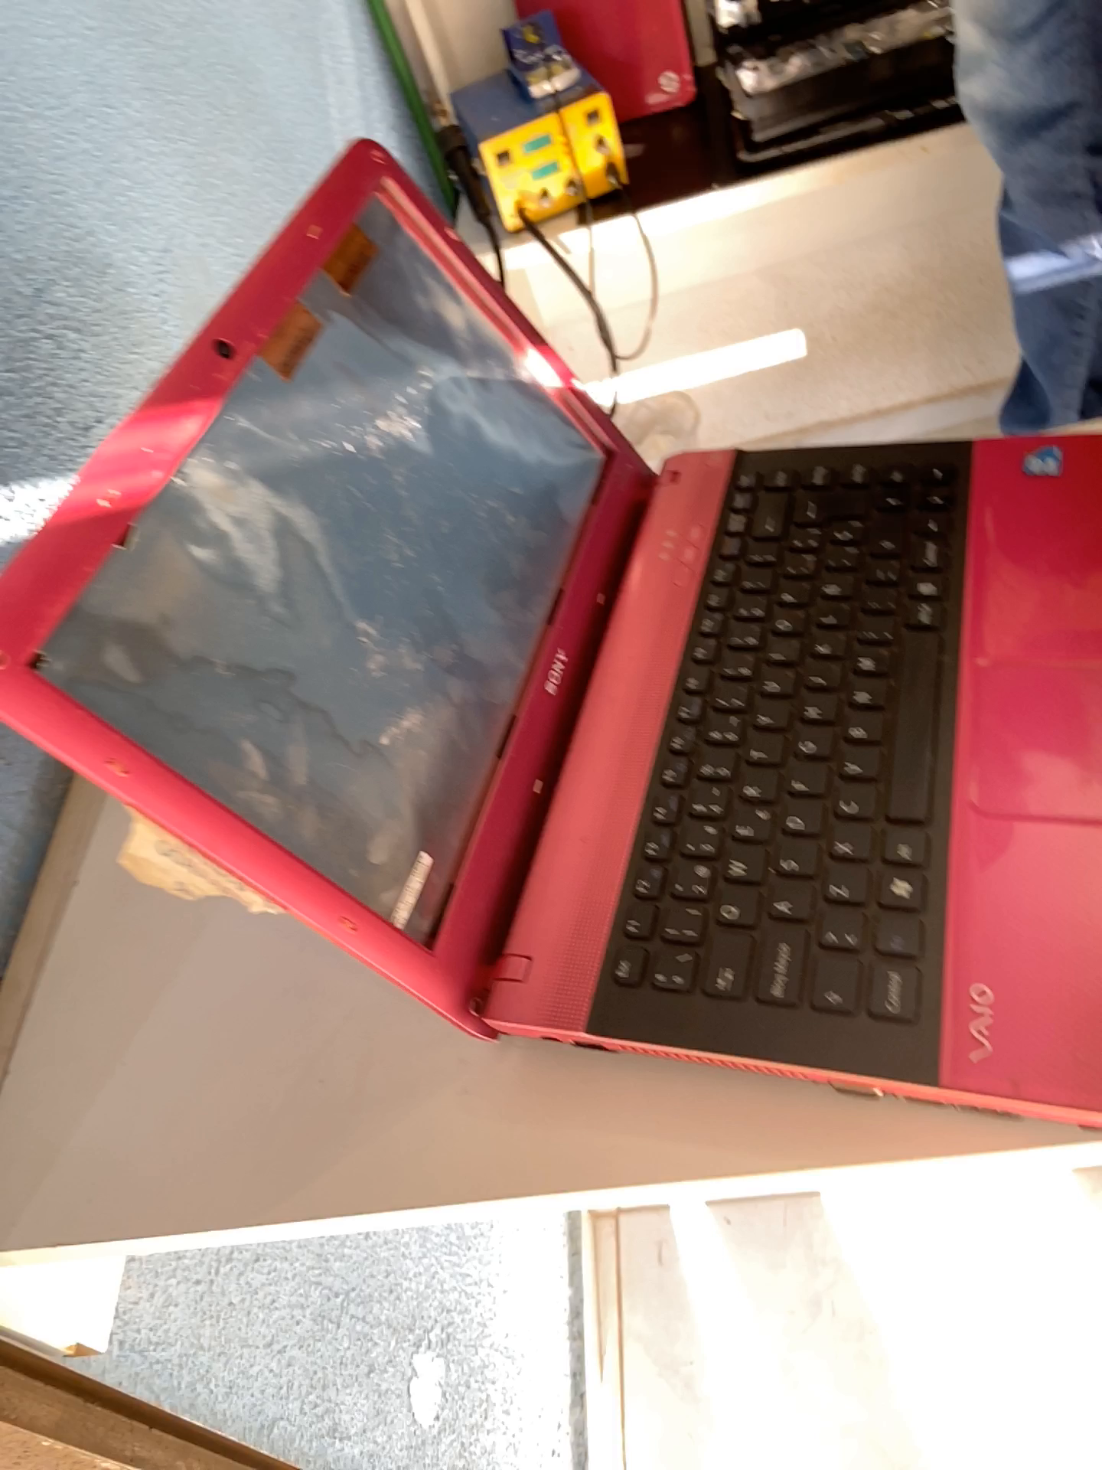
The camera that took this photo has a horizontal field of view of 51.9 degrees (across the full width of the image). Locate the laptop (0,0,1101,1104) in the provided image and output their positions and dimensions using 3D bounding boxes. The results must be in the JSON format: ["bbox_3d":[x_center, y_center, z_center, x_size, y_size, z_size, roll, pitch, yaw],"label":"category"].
[{"bbox_3d":[0.047,-0.084,0.434,0.339,0.187,0.332,2,50,22],"label":"laptop"}]
